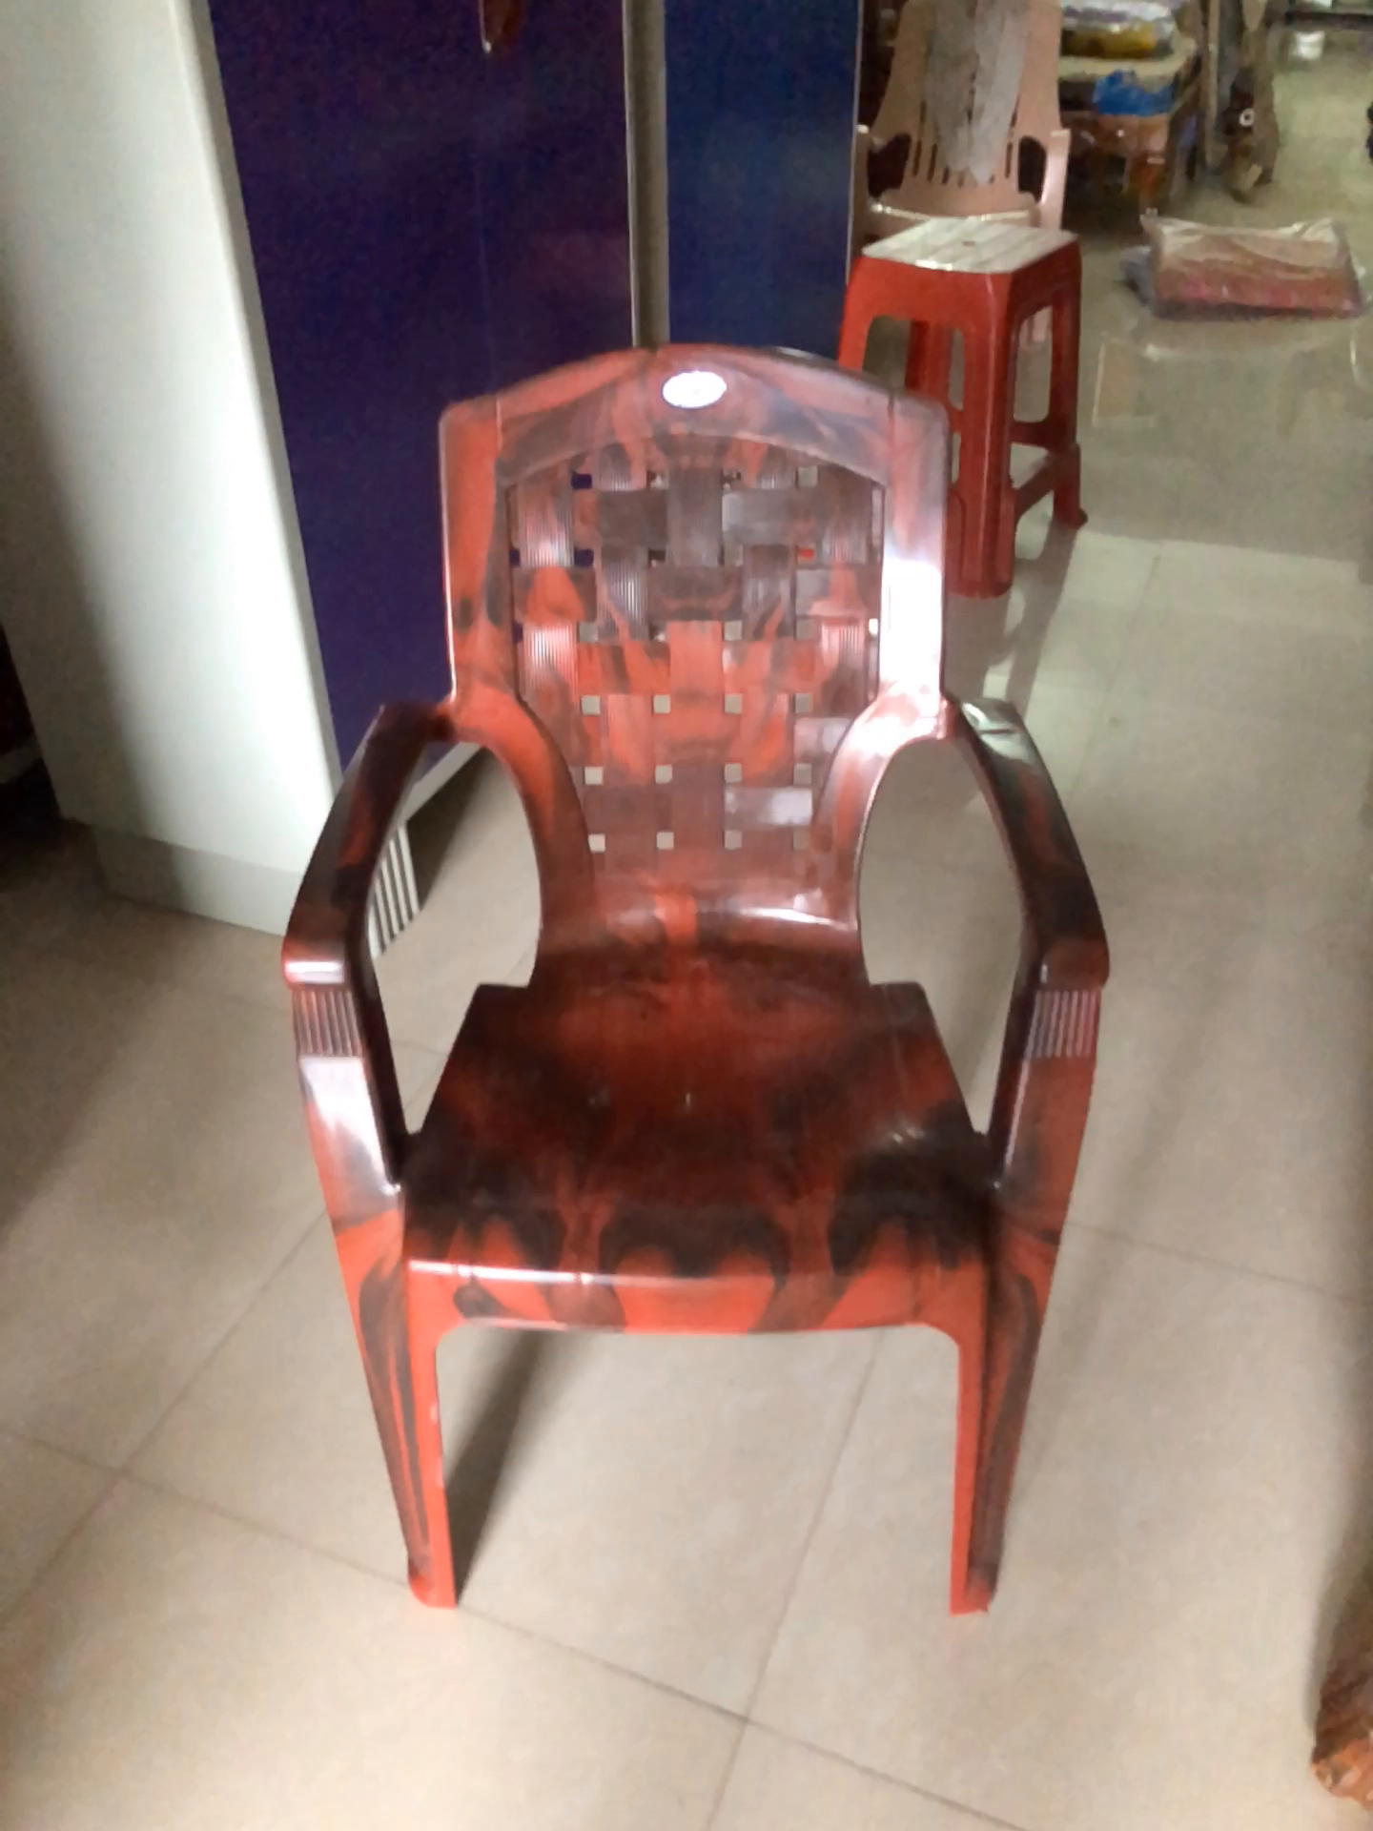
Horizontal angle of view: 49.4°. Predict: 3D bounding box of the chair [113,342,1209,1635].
[{"bbox_3d":[0.007,0.069,1.202,0.530,0.865,0.563,1,36,3],"label":"chair"}]
